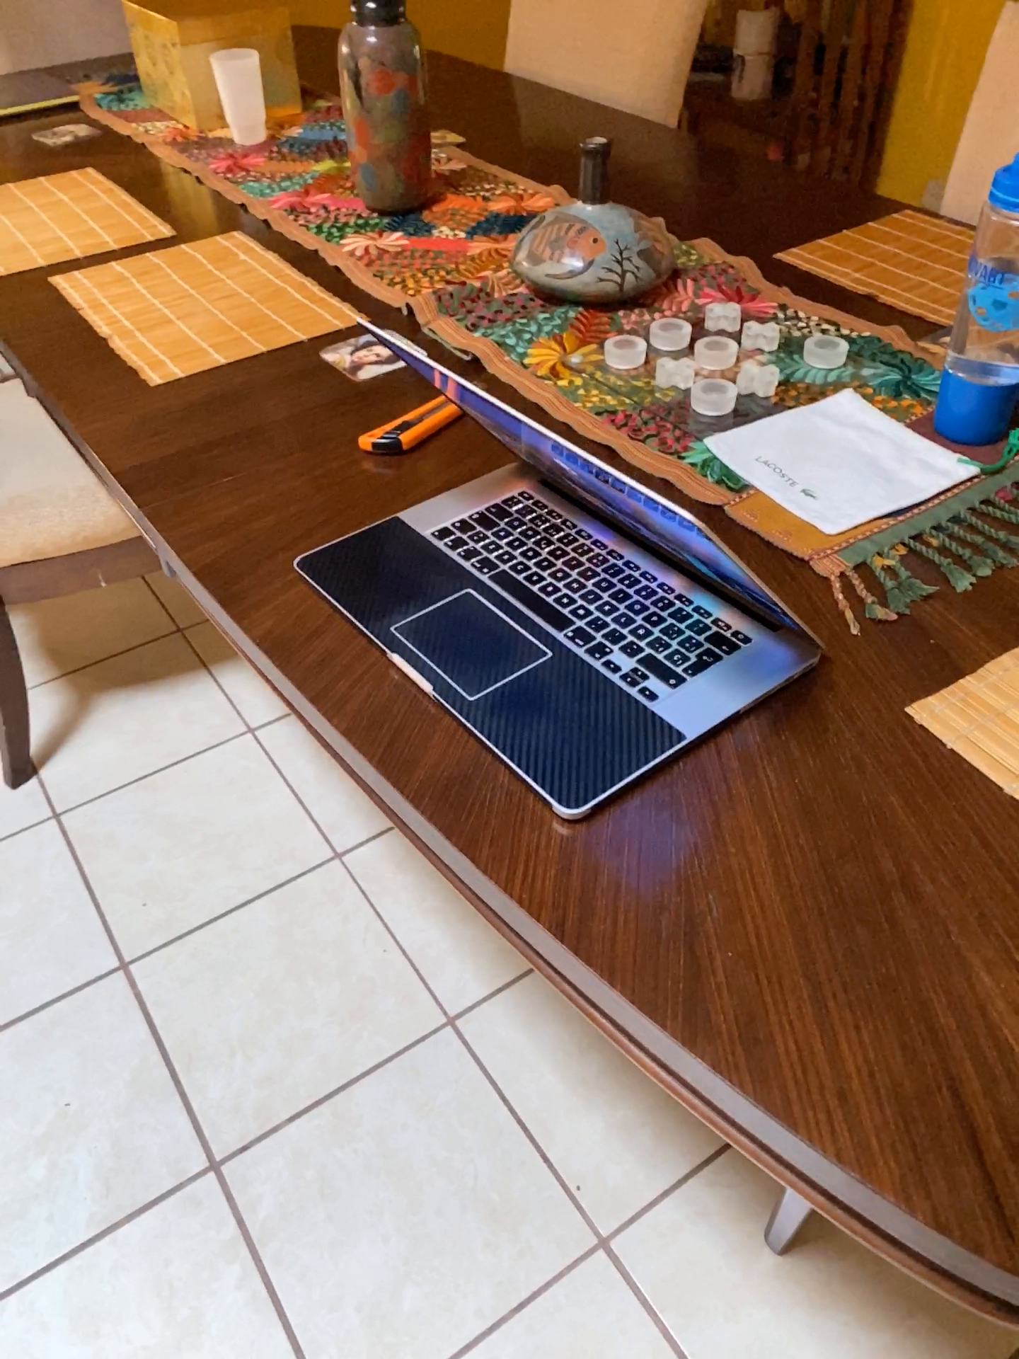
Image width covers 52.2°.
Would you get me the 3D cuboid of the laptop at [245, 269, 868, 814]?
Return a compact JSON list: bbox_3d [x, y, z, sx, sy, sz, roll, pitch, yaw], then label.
[{"bbox_3d":[0.018,-0.124,0.746,0.236,0.181,0.355,-29,49,-27],"label":"laptop"}]
